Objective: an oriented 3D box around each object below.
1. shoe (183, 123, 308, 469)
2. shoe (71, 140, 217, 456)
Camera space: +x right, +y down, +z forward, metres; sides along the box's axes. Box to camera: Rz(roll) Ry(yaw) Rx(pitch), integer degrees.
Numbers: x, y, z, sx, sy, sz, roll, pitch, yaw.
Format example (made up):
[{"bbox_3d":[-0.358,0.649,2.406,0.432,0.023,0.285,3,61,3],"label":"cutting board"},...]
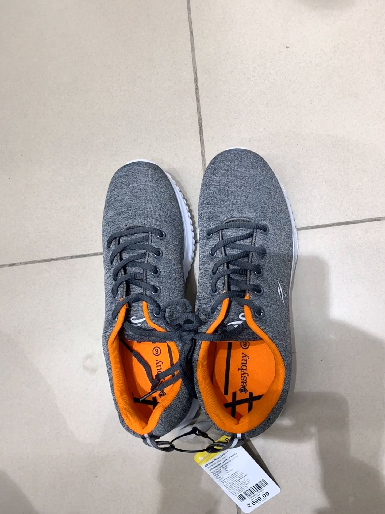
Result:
[{"bbox_3d":[0.052,0.033,0.398,0.100,0.090,0.300,-3,82,12],"label":"shoe"},{"bbox_3d":[-0.048,0.039,0.409,0.100,0.090,0.280,-9,81,11],"label":"shoe"}]
